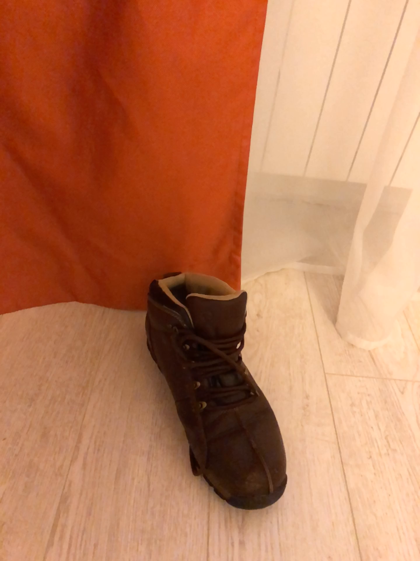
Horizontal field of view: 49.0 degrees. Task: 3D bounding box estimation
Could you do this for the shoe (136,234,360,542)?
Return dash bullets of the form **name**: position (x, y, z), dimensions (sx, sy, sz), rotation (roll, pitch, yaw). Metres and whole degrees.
- **shoe**: position (0.014, 0.102, 0.543), dimensions (0.110, 0.159, 0.302), rotation (-12, 42, -23)
